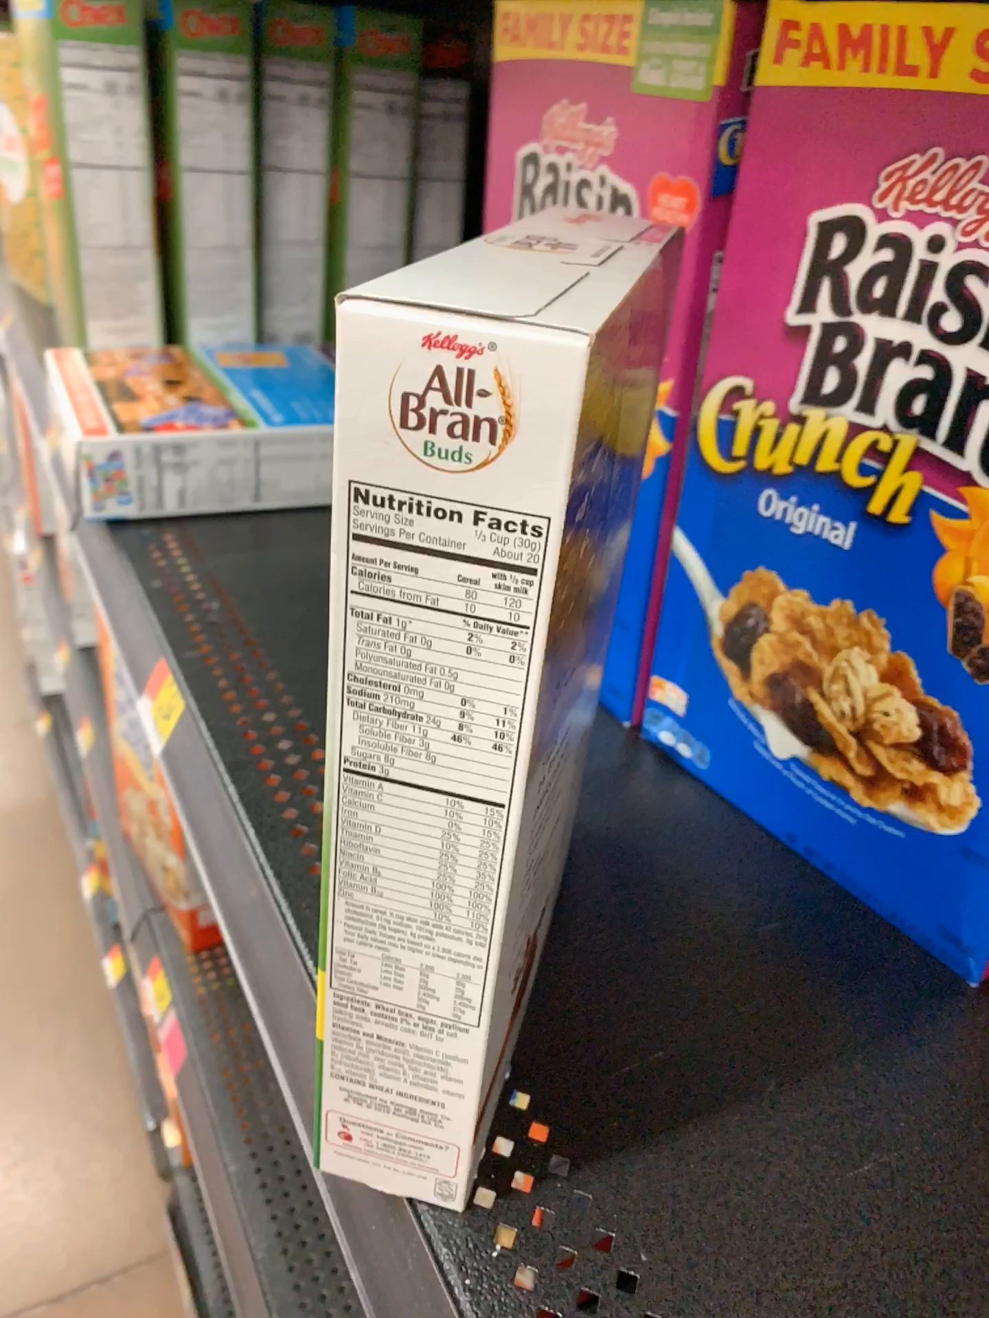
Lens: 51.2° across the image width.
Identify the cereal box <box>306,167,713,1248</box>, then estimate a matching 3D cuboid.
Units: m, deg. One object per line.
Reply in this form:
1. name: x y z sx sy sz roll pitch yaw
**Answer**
1. cereal box: 0.007 0.004 0.310 0.050 0.259 0.191 13 31 8
